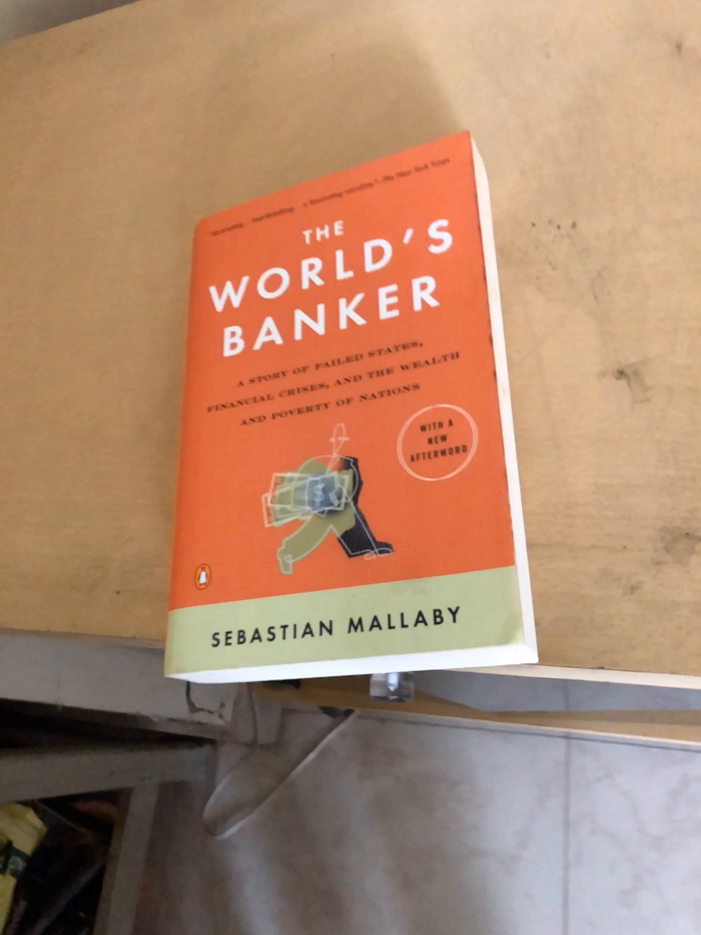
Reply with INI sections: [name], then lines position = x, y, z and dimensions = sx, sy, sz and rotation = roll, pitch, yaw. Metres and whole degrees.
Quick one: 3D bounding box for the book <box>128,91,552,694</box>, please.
[book]
position = -0.008, -0.031, 0.299
dimensions = 0.140, 0.030, 0.220
rotation = -9, 66, 20
